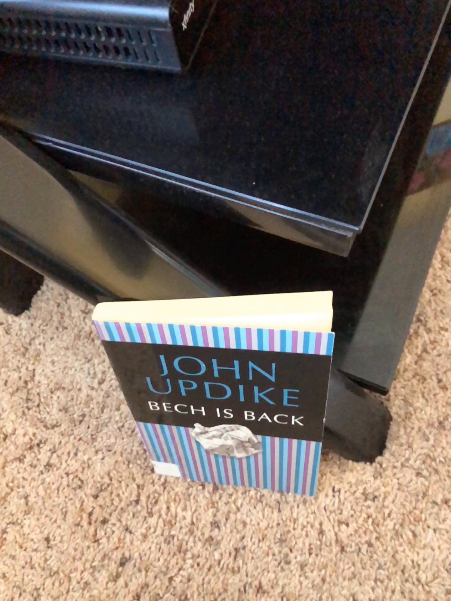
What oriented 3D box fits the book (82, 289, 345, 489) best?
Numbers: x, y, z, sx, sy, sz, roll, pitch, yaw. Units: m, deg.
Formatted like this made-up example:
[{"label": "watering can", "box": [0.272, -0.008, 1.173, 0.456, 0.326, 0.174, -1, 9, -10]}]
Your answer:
[{"label": "book", "box": [0.004, 0.071, 0.338, 0.135, 0.202, 0.030, 2, 51, 10]}]
